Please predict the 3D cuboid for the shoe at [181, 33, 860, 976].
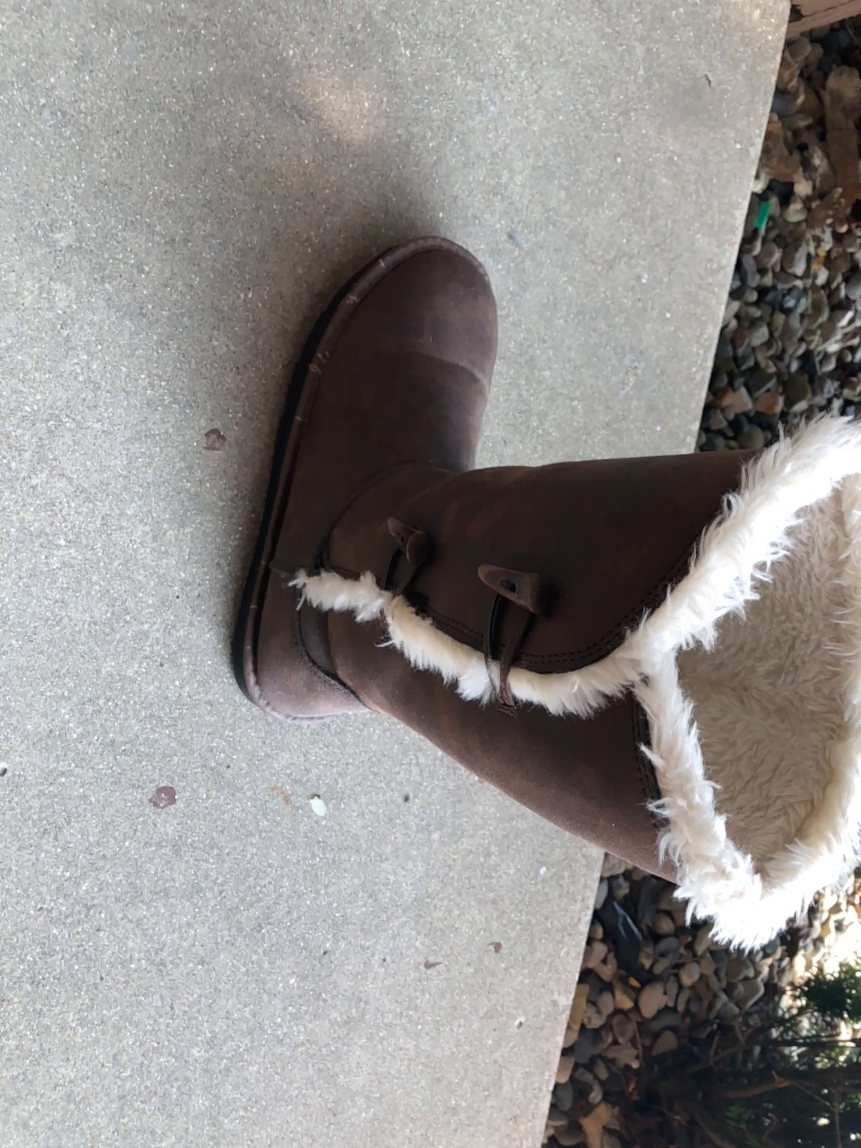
[{"bbox_3d":[0.059,-0.030,0.431,0.121,0.318,0.280,26,80,-39],"label":"shoe"}]
